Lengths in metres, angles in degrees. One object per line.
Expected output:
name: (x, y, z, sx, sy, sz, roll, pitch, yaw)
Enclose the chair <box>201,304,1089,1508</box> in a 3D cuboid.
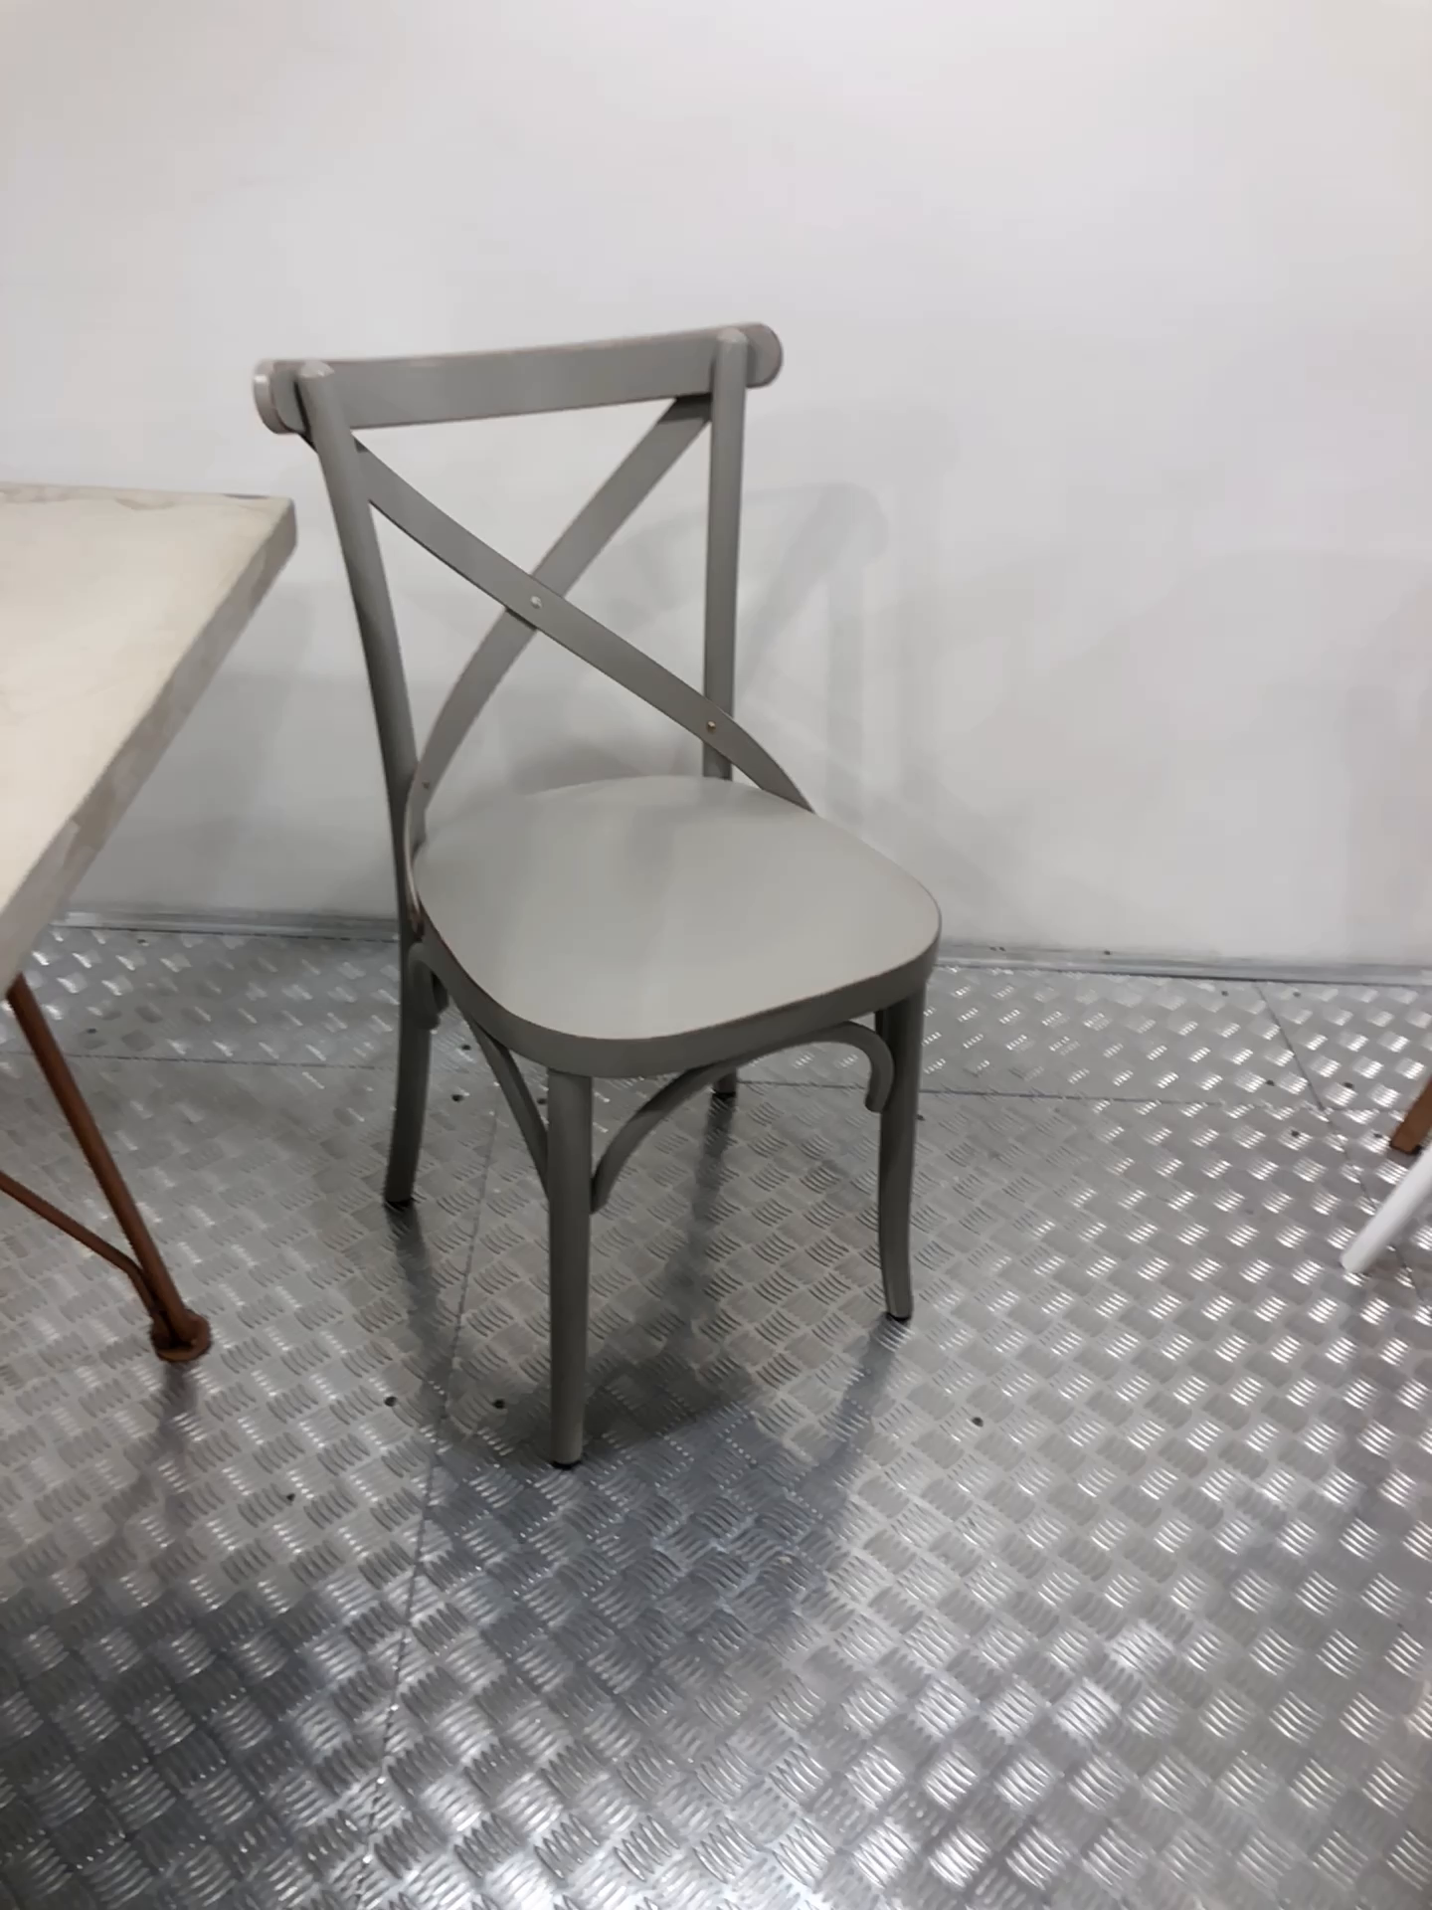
chair: (-0.094, -0.068, 1.465, 0.512, 0.893, 0.502, -17, 38, -28)
